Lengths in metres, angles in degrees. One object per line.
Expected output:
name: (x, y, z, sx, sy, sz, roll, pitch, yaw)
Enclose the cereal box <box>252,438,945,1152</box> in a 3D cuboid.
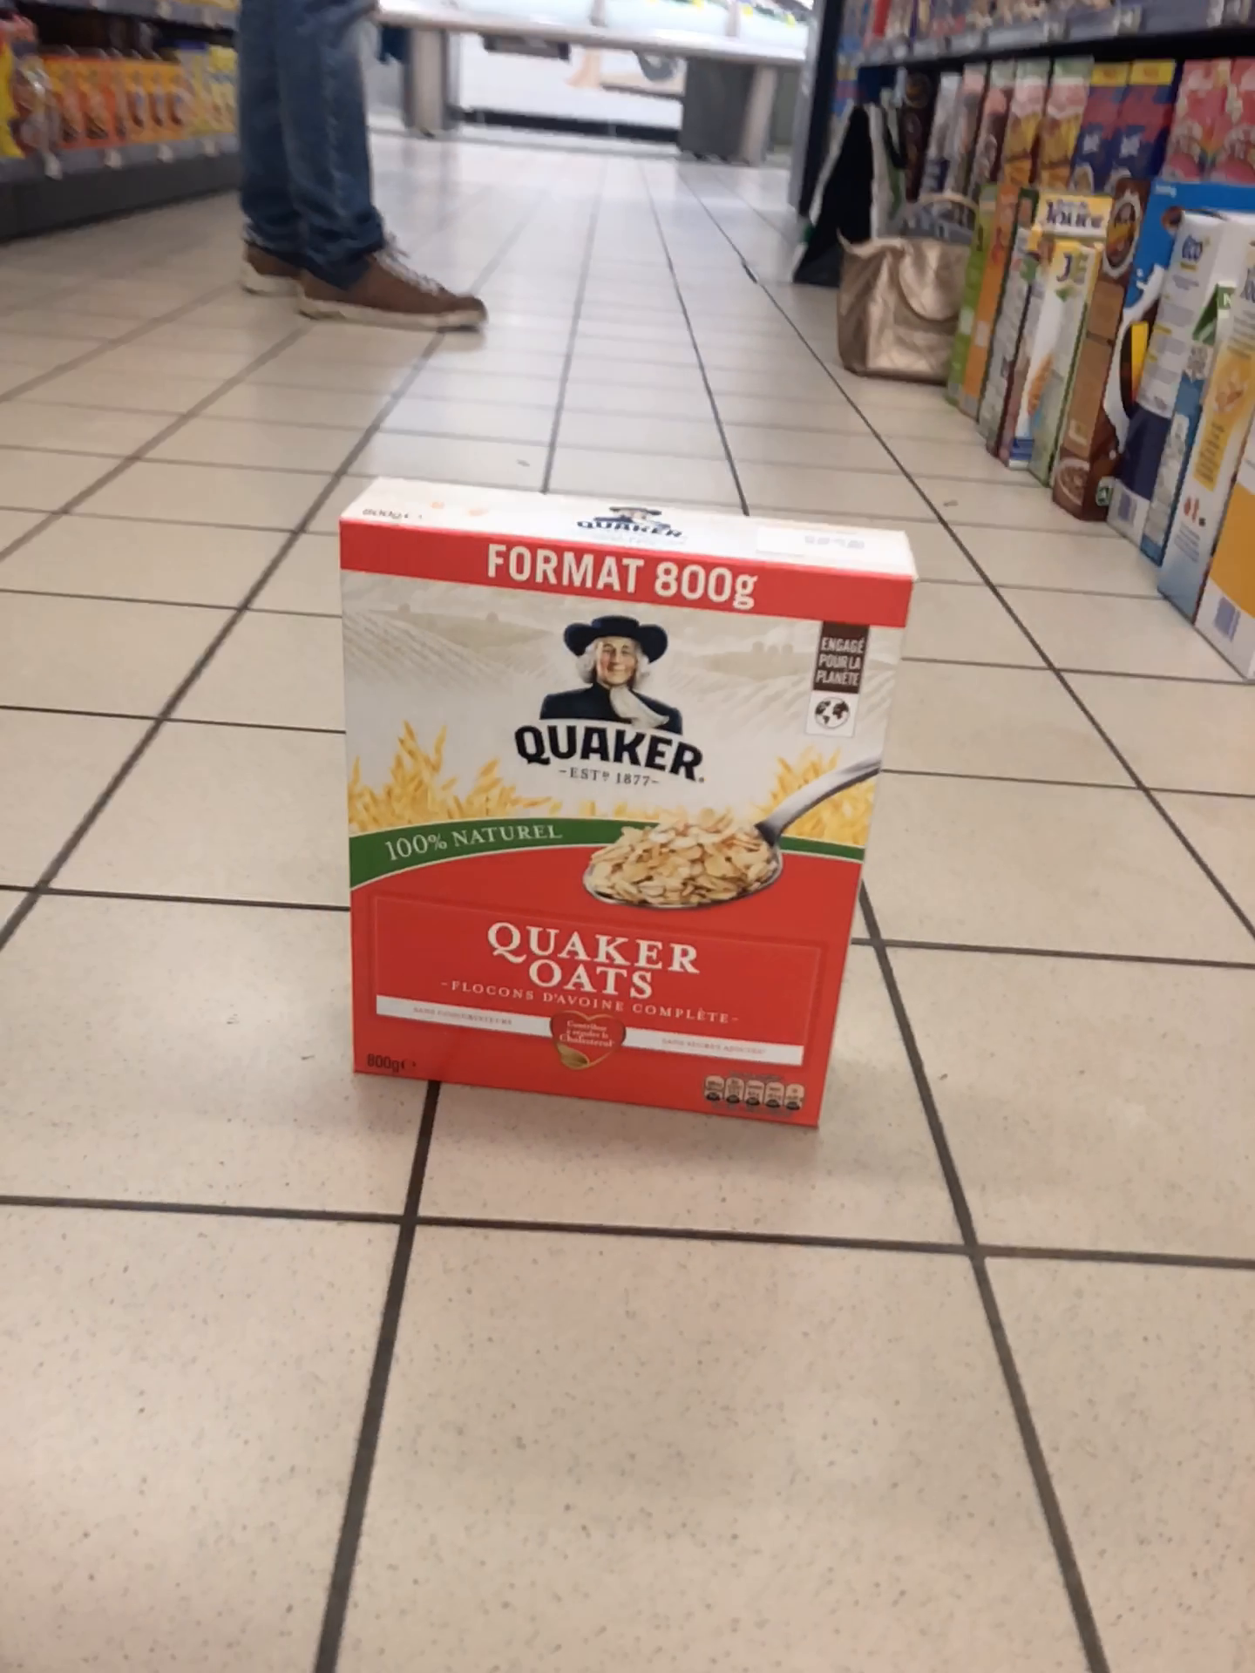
cereal box: (-0.016, -0.009, 0.493, 0.210, 0.229, 0.060, 7, 28, 2)
